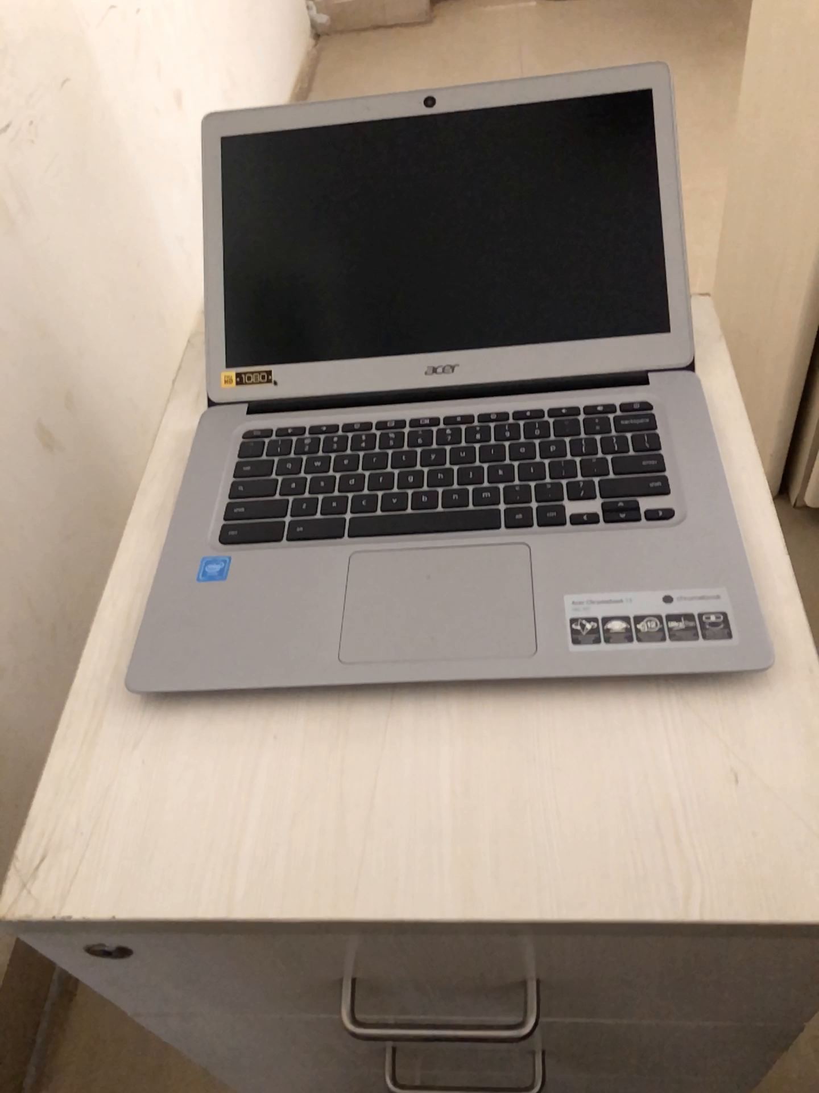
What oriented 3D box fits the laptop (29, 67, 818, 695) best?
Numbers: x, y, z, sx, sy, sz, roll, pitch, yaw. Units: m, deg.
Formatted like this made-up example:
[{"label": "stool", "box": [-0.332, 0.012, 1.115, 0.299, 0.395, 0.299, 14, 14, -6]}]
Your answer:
[{"label": "laptop", "box": [0.015, -0.125, 0.553, 0.332, 0.125, 0.410, -3, 49, 7]}]
